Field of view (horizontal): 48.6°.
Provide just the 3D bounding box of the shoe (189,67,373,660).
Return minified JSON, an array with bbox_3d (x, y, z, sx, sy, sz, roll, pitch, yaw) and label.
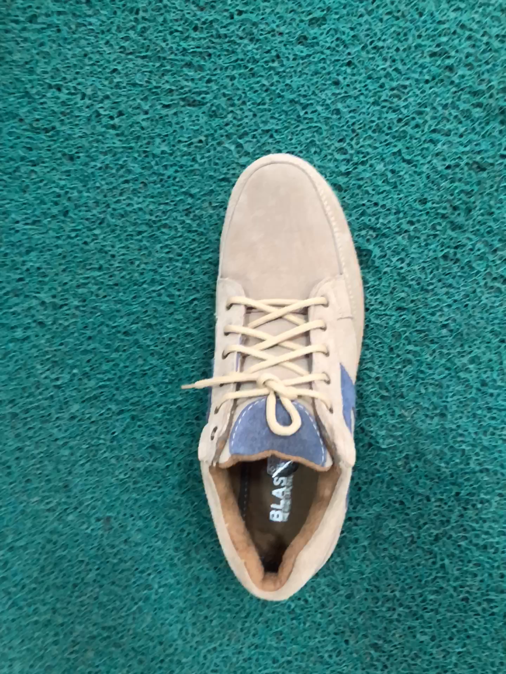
[{"bbox_3d":[0.022,0.014,0.368,0.100,0.120,0.320,0,89,7],"label":"shoe"}]
